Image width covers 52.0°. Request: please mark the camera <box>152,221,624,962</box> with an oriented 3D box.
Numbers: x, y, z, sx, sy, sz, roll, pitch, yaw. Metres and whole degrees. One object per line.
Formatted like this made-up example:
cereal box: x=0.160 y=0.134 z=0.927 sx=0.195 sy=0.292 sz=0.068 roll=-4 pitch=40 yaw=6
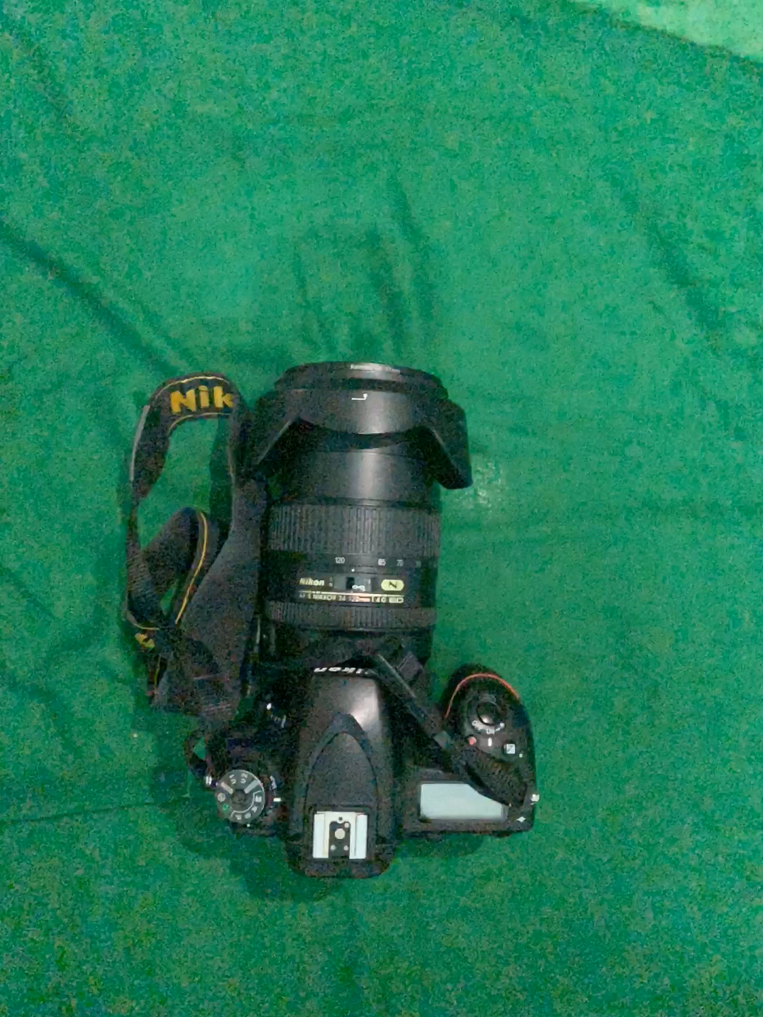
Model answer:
camera: x=0.008 y=0.032 z=0.372 sx=0.170 sy=0.100 sz=0.290 roll=5 pitch=82 yaw=0
